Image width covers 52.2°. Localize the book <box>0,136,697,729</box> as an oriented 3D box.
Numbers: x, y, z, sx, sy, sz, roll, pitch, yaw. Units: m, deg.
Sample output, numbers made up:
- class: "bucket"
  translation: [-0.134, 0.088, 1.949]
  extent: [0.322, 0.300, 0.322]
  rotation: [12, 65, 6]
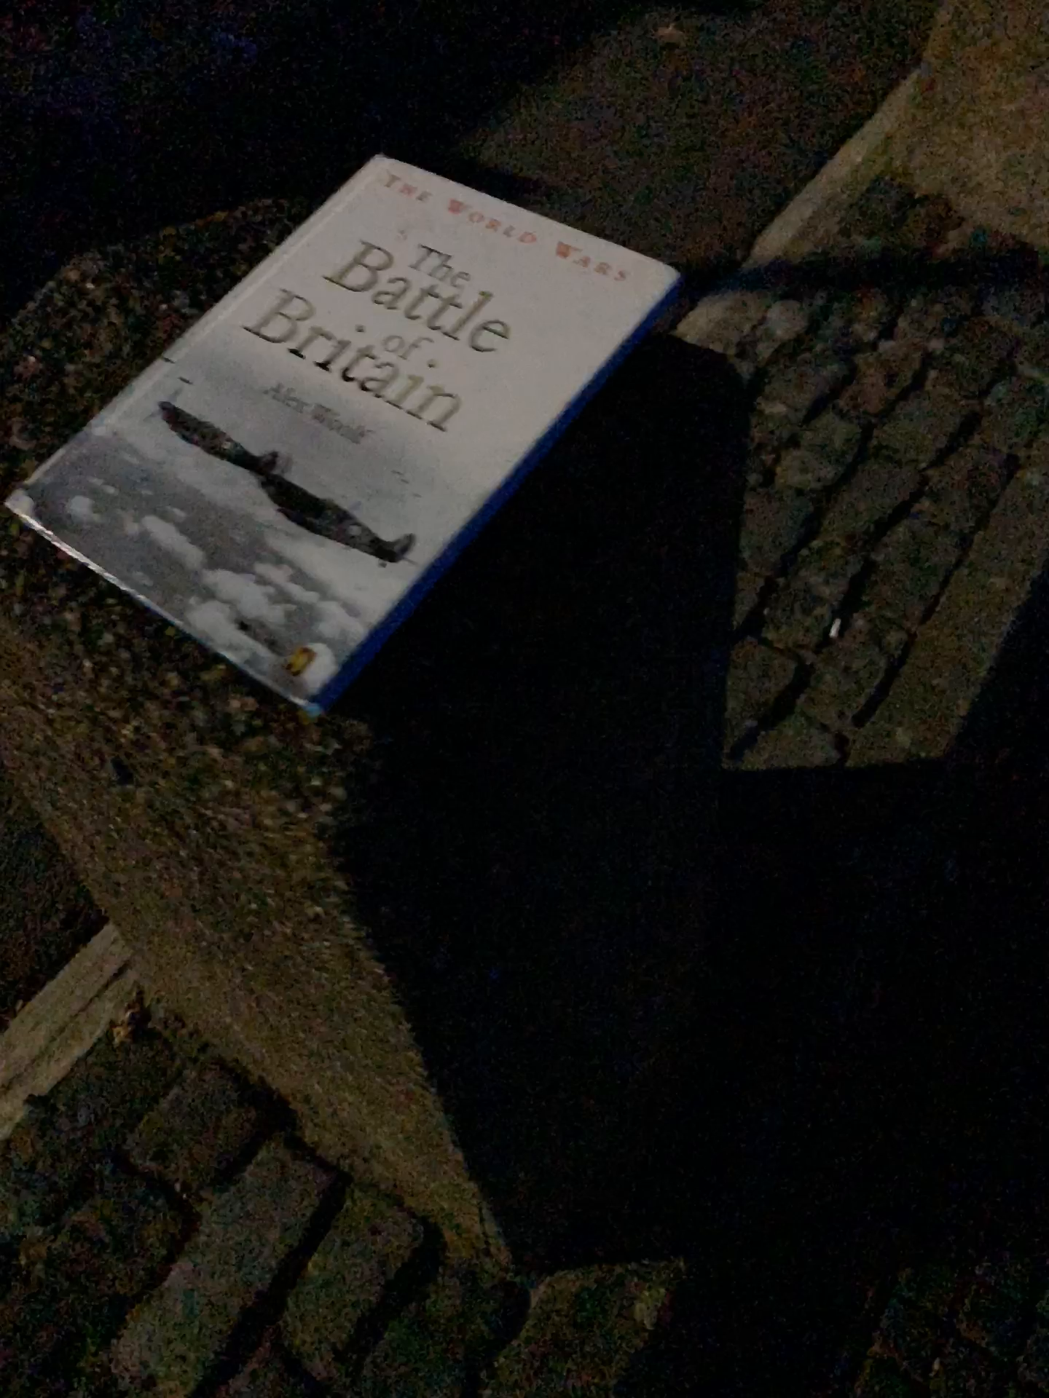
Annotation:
- class: "book"
  translation: [-0.069, -0.127, 0.443]
  extent: [0.171, 0.020, 0.245]
  rotation: [32, 71, 22]
